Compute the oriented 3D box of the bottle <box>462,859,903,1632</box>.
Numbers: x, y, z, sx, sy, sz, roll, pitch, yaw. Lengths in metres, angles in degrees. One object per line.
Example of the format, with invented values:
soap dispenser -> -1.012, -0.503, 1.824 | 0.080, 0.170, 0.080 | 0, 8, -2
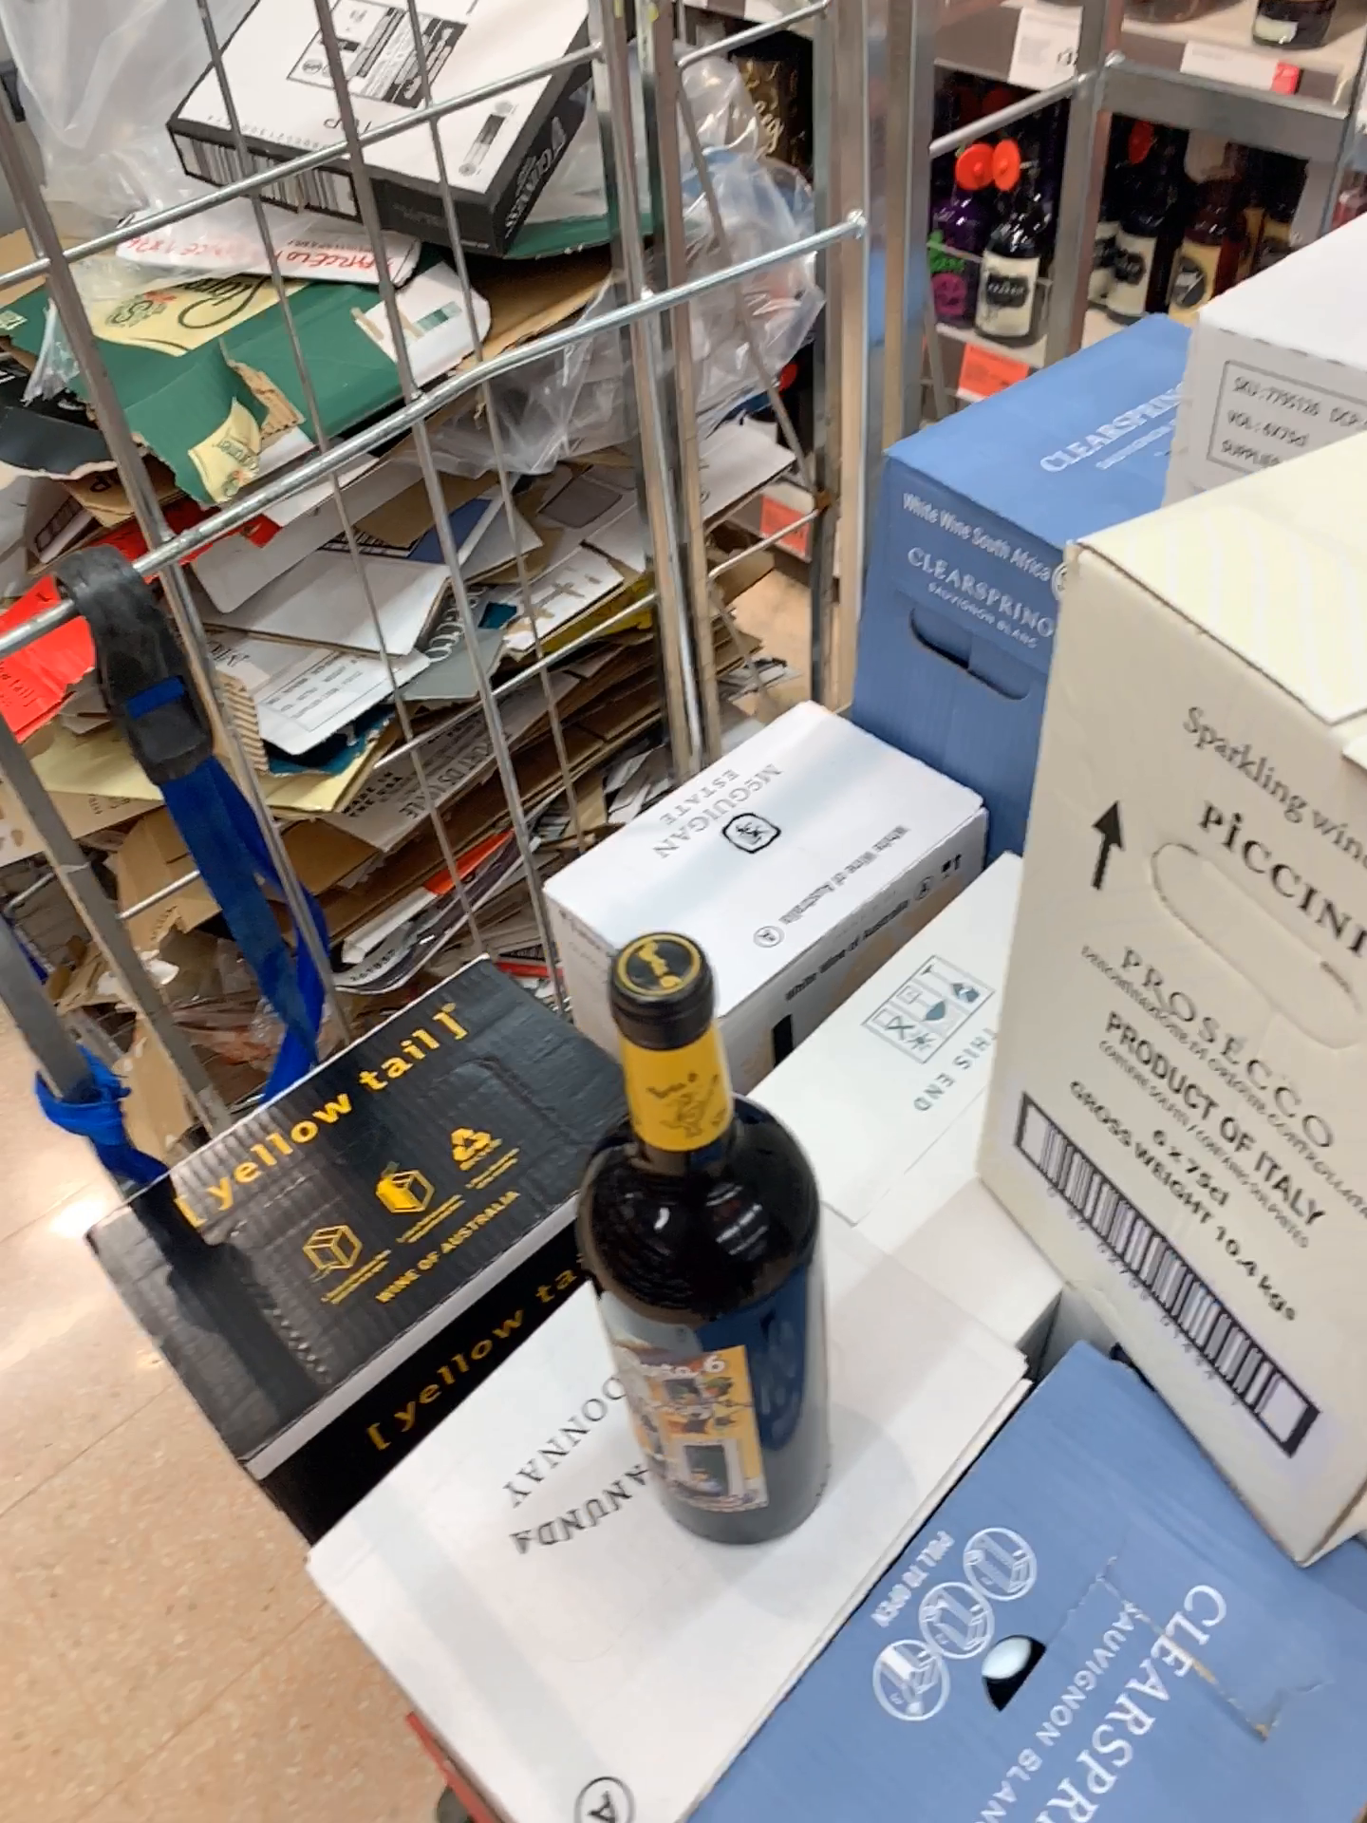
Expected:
bottle -> 0.008, 0.127, 0.451 | 0.077, 0.295, 0.079 | -2, 46, 2
